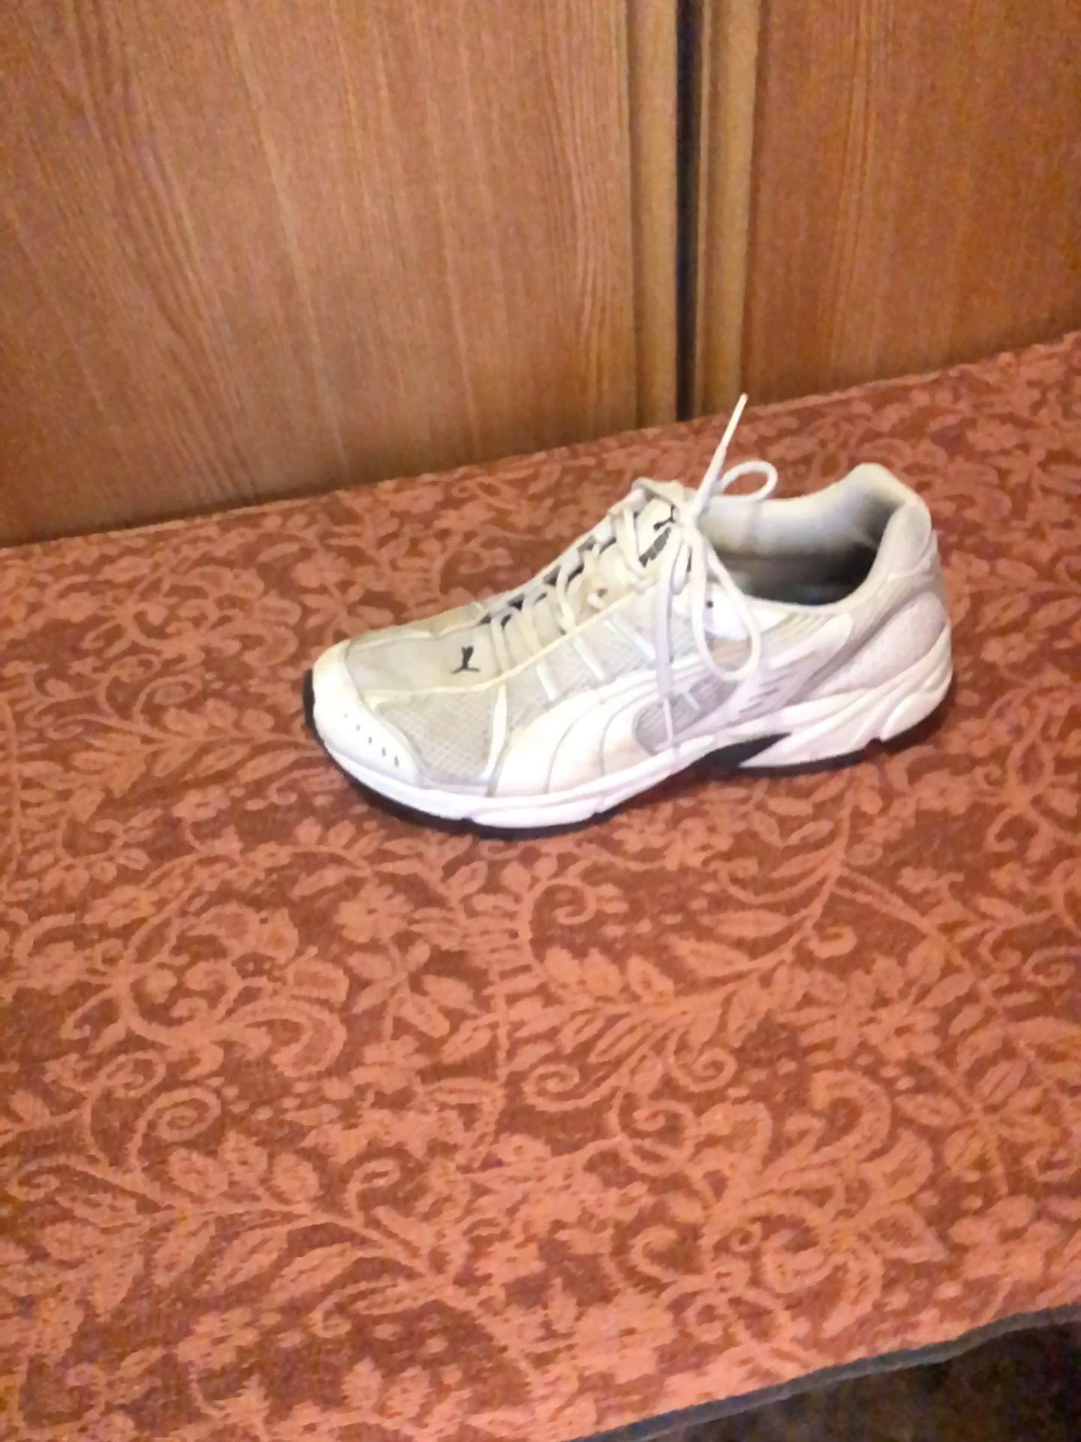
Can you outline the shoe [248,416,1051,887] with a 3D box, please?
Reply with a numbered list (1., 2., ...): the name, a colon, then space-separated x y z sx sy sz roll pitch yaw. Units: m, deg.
1. shoe: 0.038 -0.031 0.495 0.290 0.100 0.100 -11 47 -4
